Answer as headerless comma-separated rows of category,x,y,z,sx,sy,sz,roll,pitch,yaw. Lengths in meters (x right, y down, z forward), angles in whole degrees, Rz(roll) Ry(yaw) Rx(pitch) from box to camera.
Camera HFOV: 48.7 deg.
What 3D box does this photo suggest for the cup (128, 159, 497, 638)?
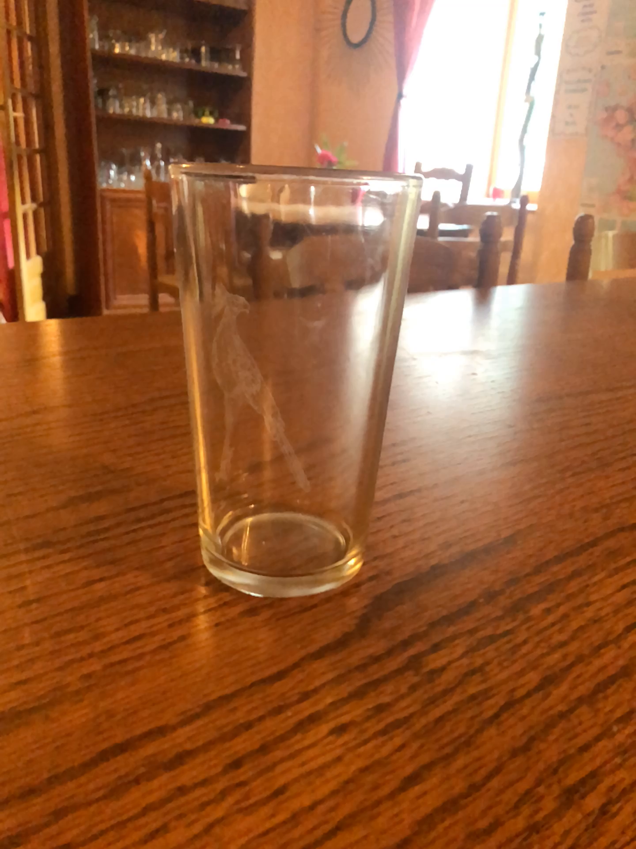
cup,-0.006,-0.020,0.265,0.092,0.144,0.089,3,19,-1
